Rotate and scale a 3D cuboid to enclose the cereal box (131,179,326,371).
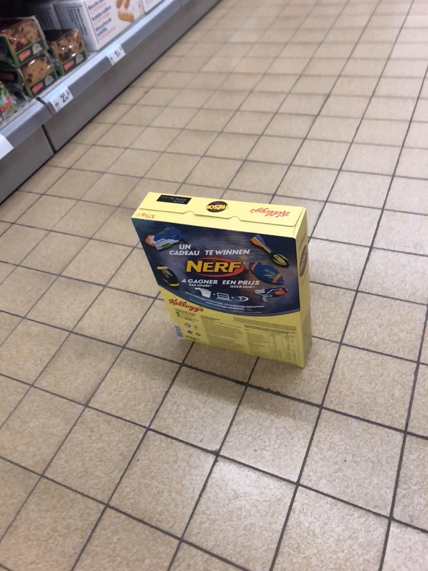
[{"bbox_3d":[0.032,-0.007,0.583,0.200,0.239,0.060,10,50,21],"label":"cereal box"}]
